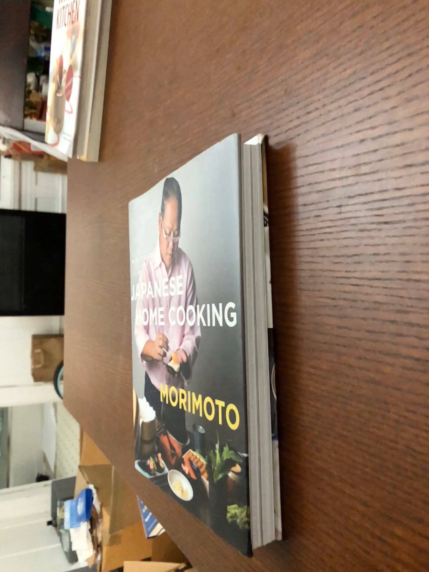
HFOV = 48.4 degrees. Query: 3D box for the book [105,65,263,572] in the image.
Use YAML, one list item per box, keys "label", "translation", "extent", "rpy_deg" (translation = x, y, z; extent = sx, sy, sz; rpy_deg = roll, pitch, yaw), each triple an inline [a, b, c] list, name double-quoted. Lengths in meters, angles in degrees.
- label: "book"
  translation: [-0.041, 0.024, 0.382]
  extent: [0.221, 0.030, 0.300]
  rpy_deg: [-8, 82, 61]
